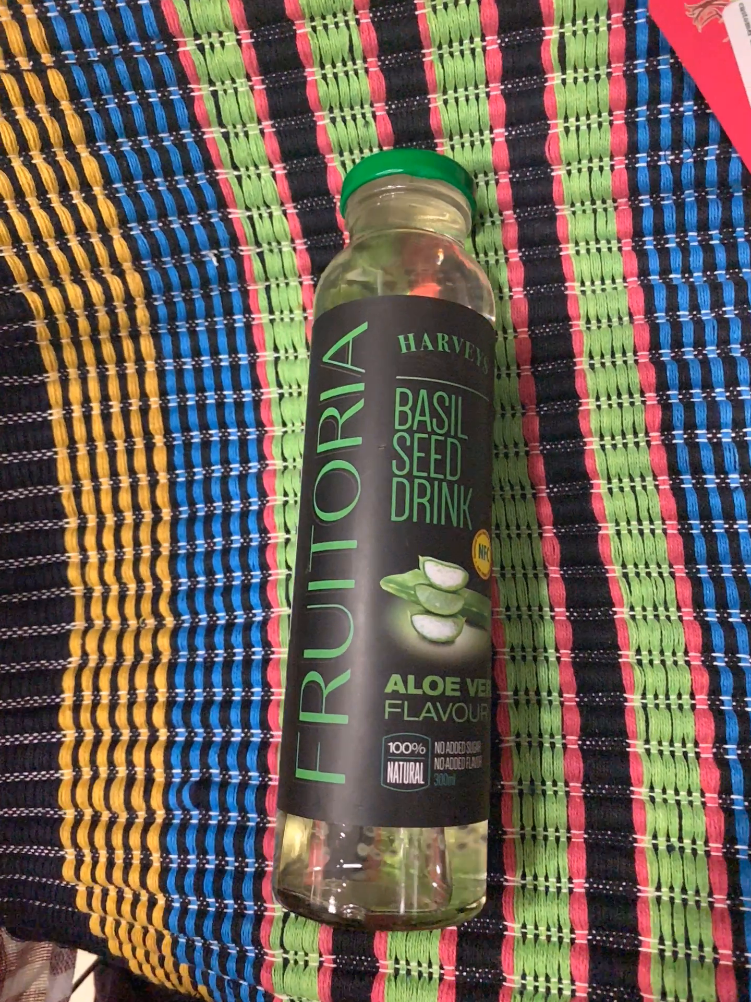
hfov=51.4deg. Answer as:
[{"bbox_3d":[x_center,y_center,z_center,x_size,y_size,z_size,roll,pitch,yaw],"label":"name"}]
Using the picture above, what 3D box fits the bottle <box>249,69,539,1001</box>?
[{"bbox_3d":[0.003,0.004,0.202,0.050,0.060,0.200,5,80,-20],"label":"bottle"}]
